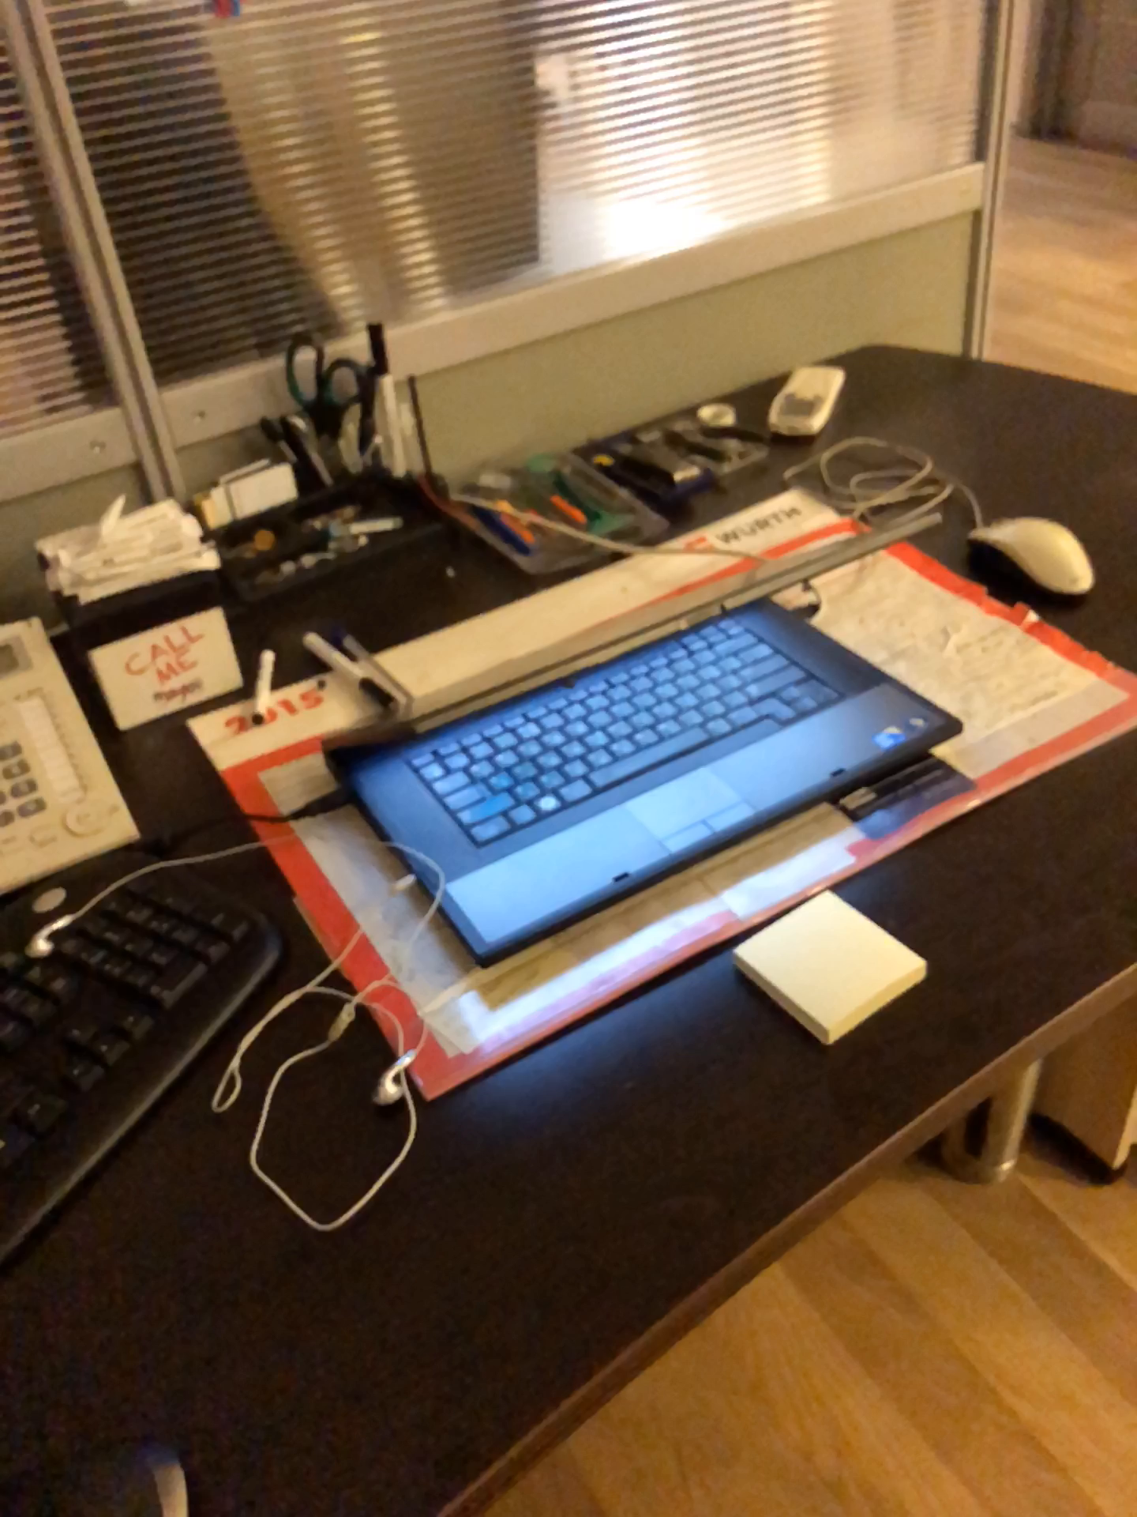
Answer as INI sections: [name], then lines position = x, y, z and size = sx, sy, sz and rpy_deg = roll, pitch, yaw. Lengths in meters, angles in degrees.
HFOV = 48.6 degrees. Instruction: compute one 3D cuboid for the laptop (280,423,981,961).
[laptop]
position = 0.039, -0.067, 0.809
size = 0.359, 0.141, 0.239
rpy_deg = -23, 40, -22
